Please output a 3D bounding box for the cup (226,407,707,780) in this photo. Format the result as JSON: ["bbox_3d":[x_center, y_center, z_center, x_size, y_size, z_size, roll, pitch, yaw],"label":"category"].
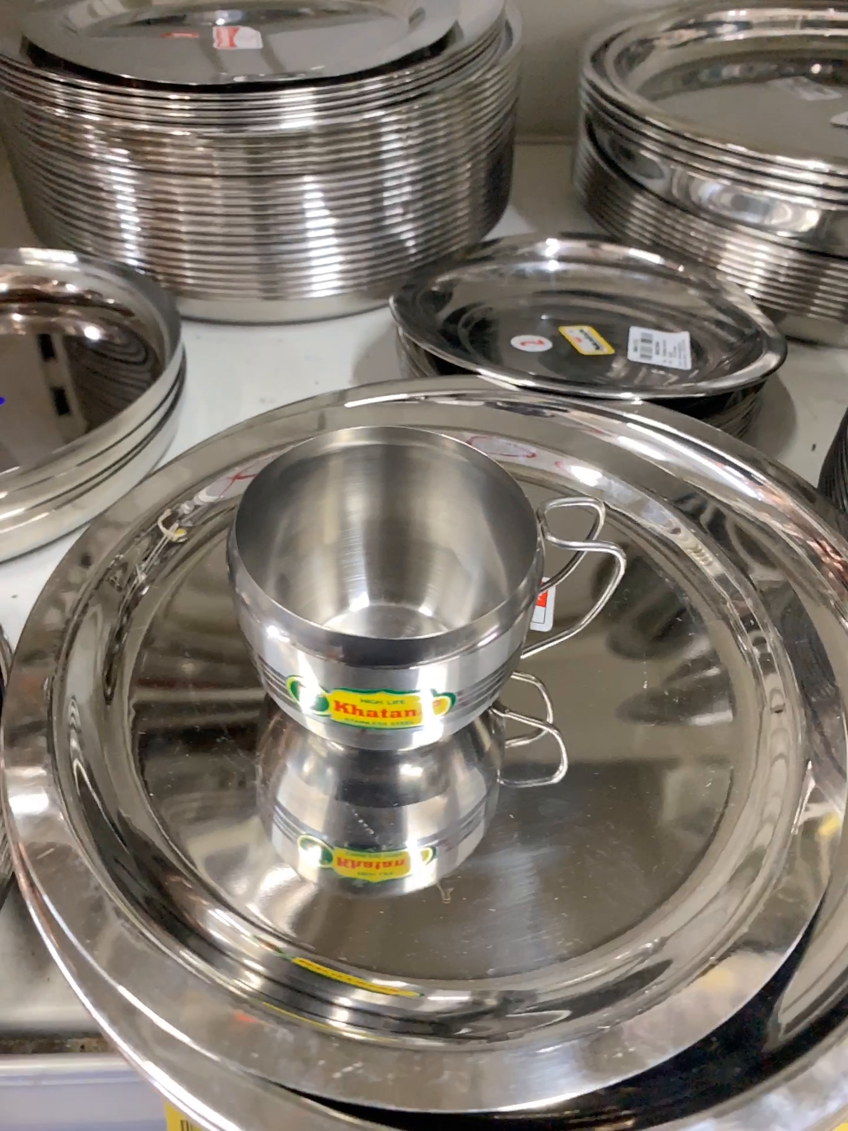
[{"bbox_3d":[0.005,0.004,0.202,0.090,0.040,0.070,-4,46,-5],"label":"cup"}]
